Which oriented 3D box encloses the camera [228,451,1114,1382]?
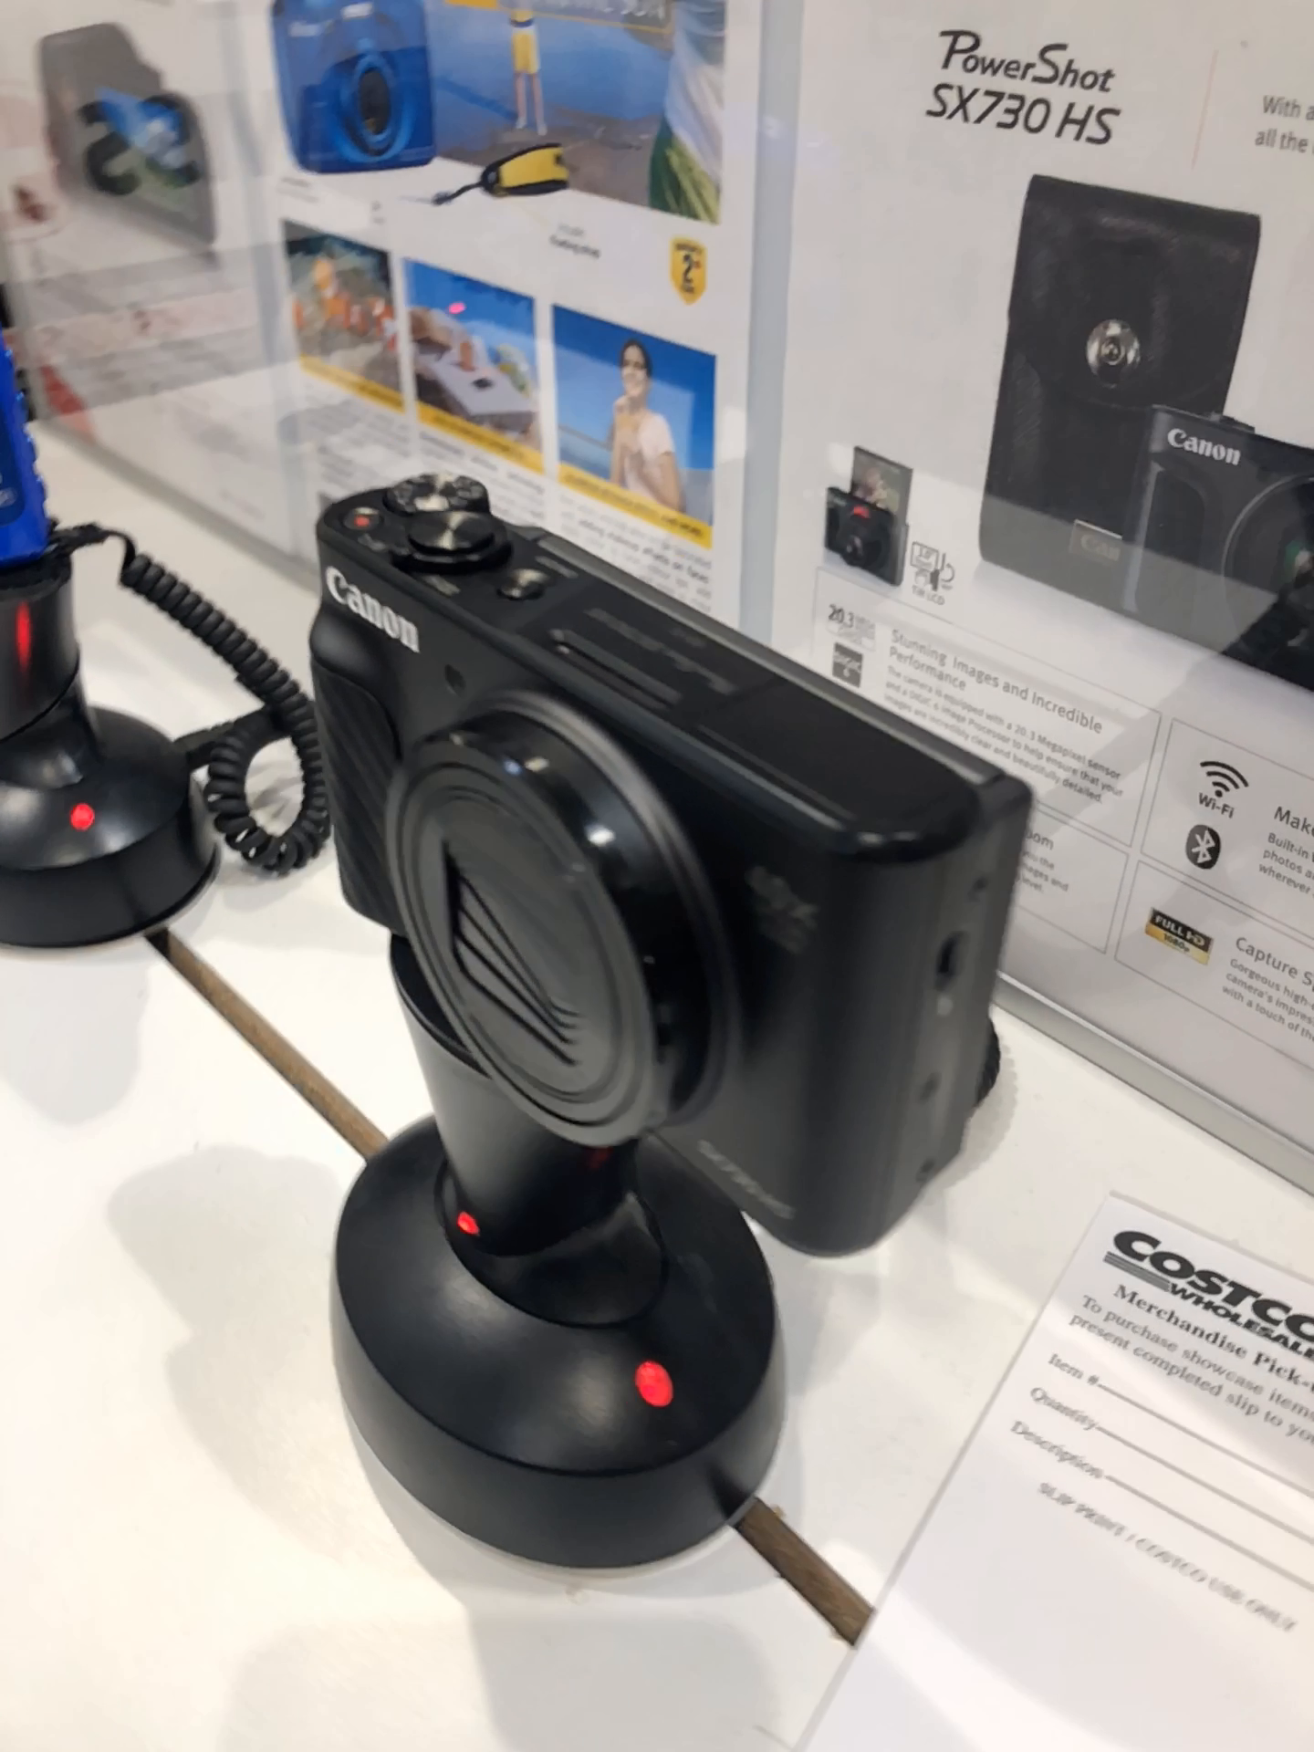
[{"bbox_3d":[-0.007,-0.003,0.200,0.040,0.070,0.121,-27,45,-32],"label":"camera"}]
